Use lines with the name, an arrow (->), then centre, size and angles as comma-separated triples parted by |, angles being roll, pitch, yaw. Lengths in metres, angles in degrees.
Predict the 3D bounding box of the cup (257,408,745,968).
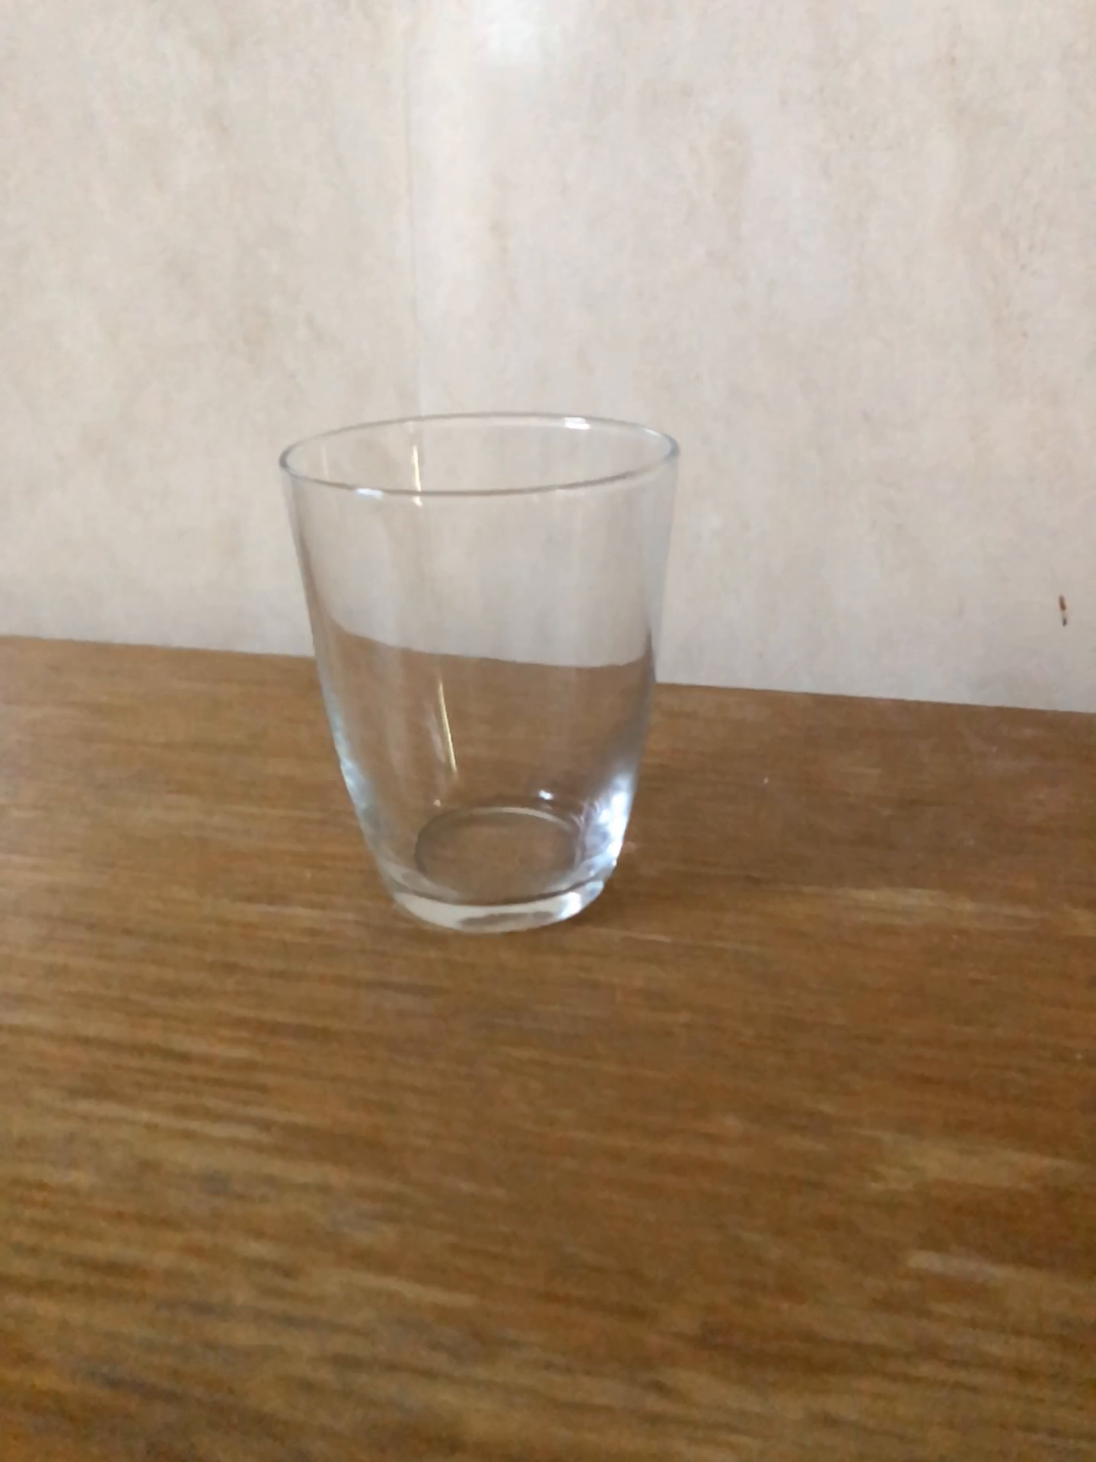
cup -> -0.010, -0.013, 0.221 | 0.070, 0.080, 0.070 | 0, 22, 0
